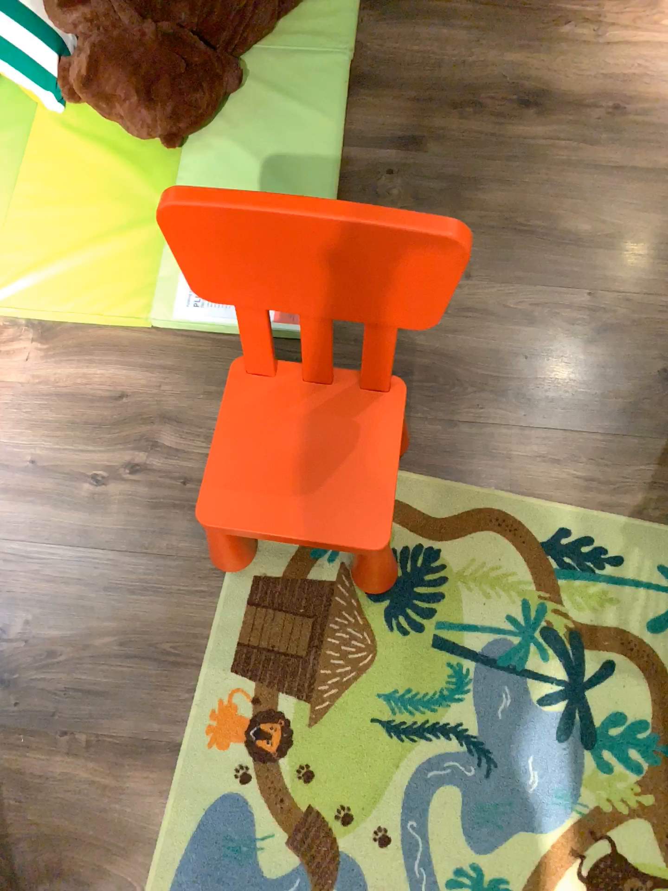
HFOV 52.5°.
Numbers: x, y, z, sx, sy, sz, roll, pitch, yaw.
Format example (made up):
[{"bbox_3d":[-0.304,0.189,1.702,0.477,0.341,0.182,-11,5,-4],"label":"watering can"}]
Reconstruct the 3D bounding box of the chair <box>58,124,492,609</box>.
[{"bbox_3d":[-0.041,-0.045,1.014,0.380,0.600,0.460,10,73,4],"label":"chair"}]
